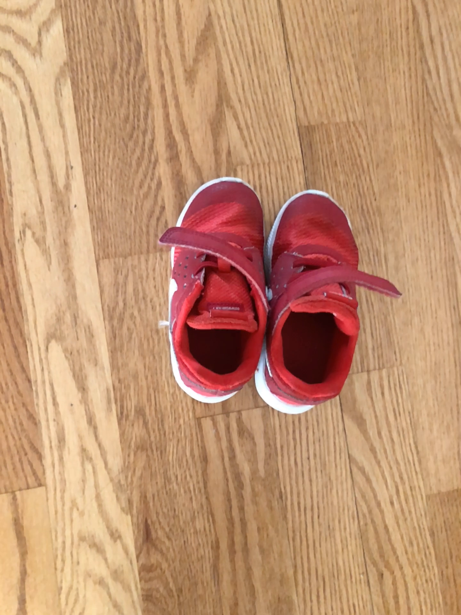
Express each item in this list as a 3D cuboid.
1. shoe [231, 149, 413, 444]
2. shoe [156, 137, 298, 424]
[{"bbox_3d":[0.061,-0.005,0.359,0.088,0.069,0.177,9,85,-7],"label":"shoe"},{"bbox_3d":[-0.005,-0.015,0.351,0.080,0.069,0.175,3,86,-8],"label":"shoe"}]
